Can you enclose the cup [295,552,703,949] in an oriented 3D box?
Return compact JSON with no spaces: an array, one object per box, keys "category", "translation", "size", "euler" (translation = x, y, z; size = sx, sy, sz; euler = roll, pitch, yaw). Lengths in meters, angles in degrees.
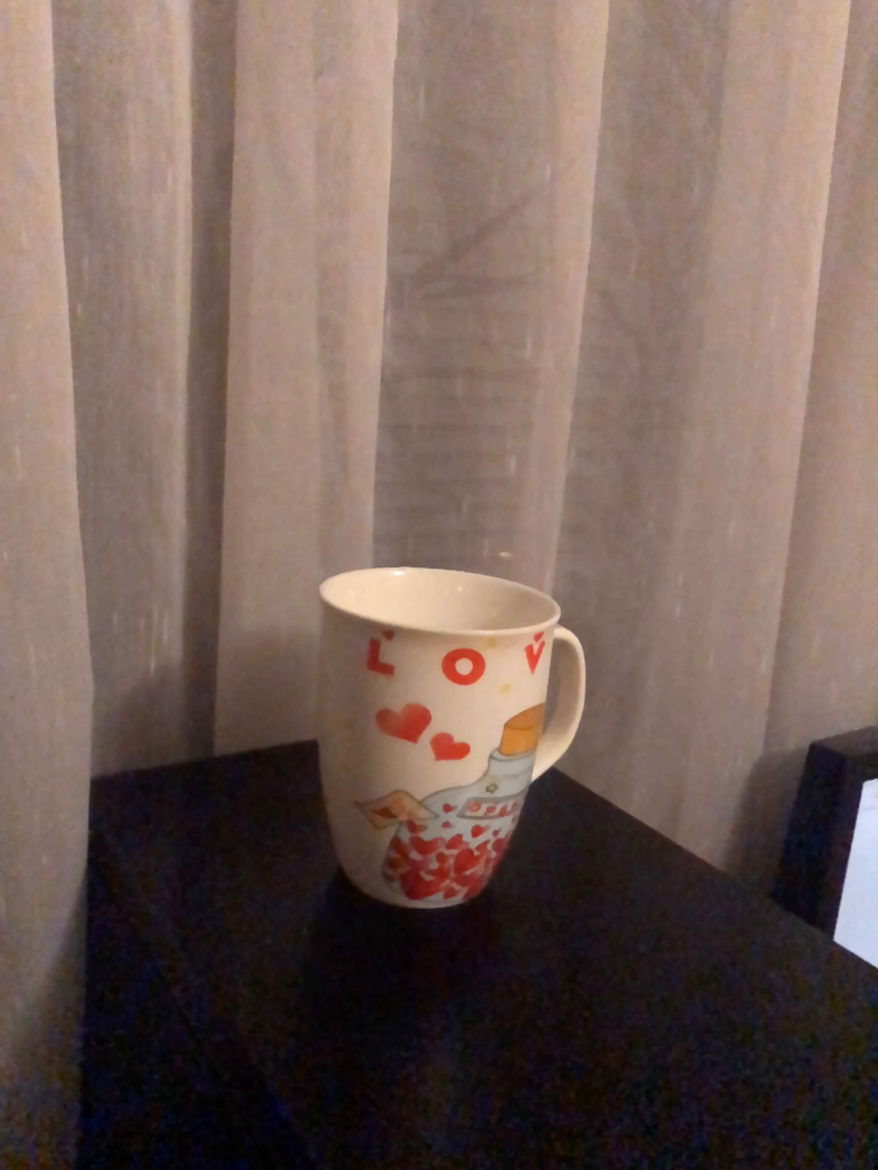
[{"category":"cup","translation":[0.019,0.048,0.343],"size":[0.111,0.098,0.078],"euler":[-5,17,-34]}]
